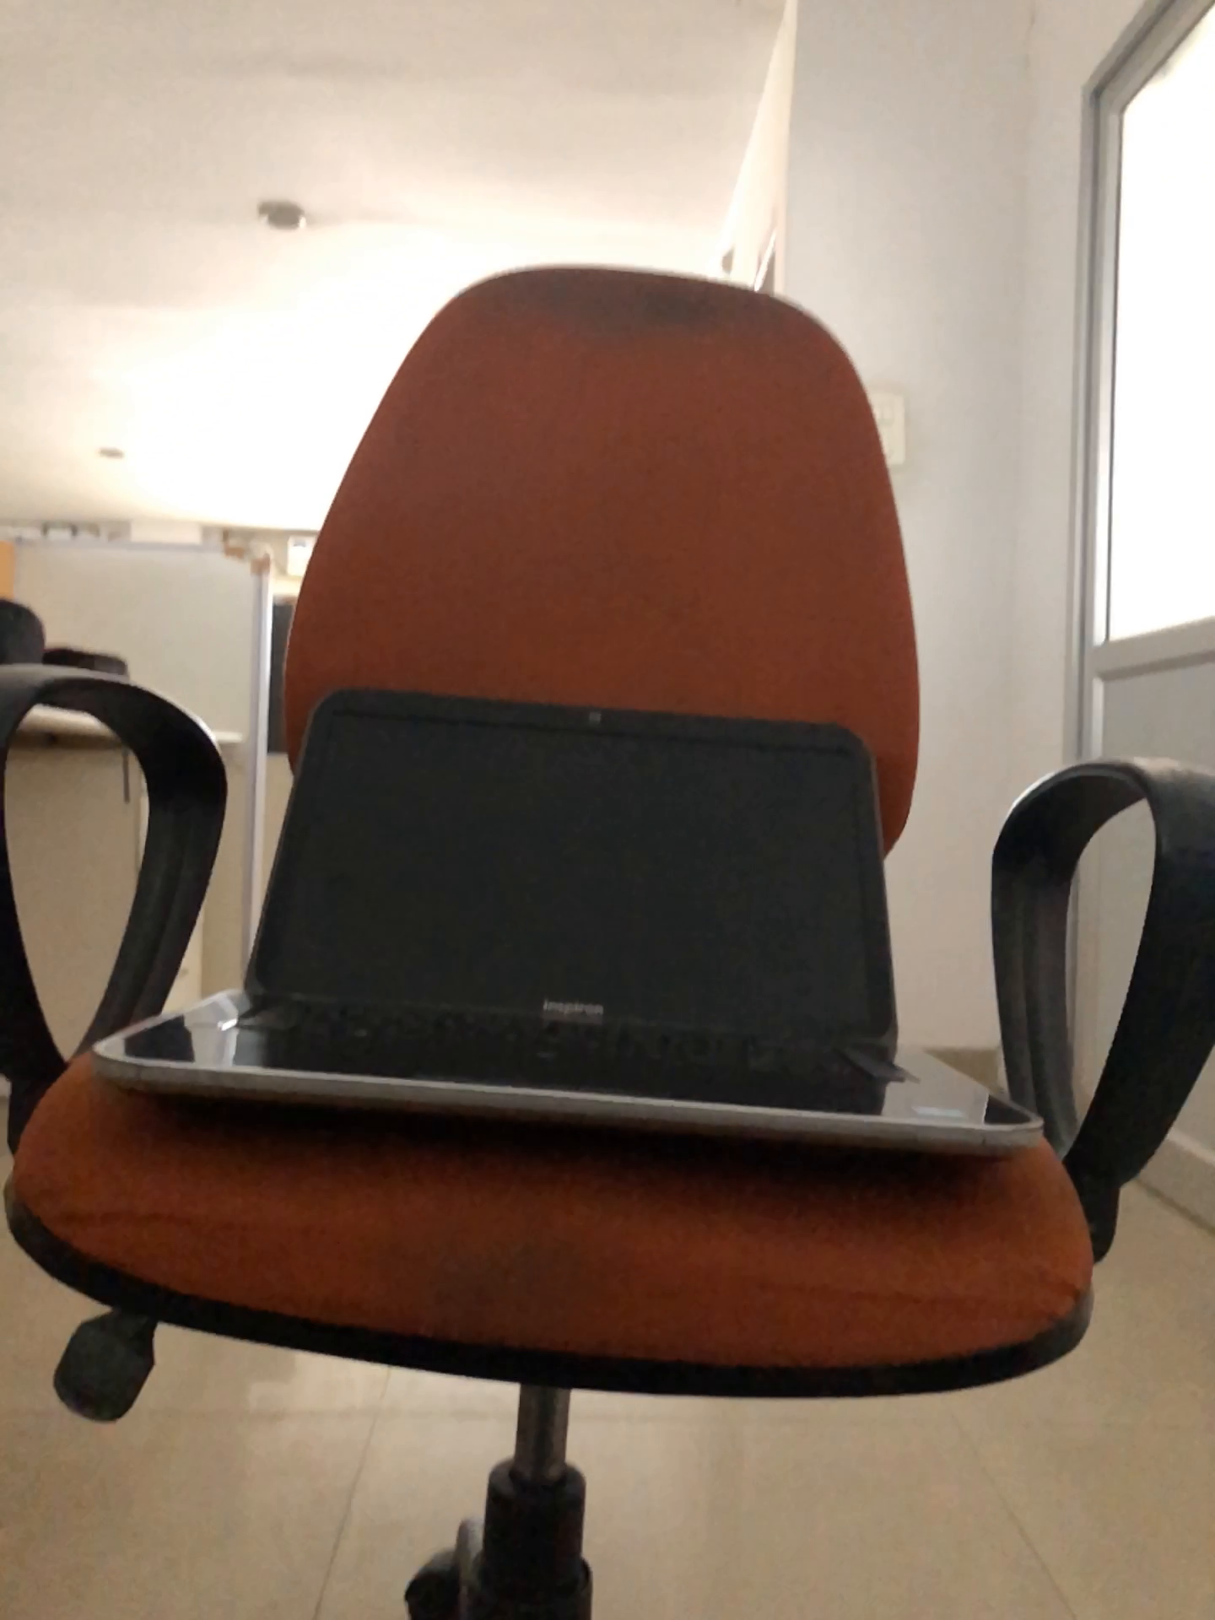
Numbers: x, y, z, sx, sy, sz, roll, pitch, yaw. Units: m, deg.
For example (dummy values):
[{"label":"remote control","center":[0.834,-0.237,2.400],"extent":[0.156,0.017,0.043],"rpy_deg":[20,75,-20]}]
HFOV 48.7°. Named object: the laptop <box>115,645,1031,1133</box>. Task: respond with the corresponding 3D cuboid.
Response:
[{"label":"laptop","center":[-0.017,0.024,0.696],"extent":[0.352,0.174,0.350],"rpy_deg":[2,1,1]}]
